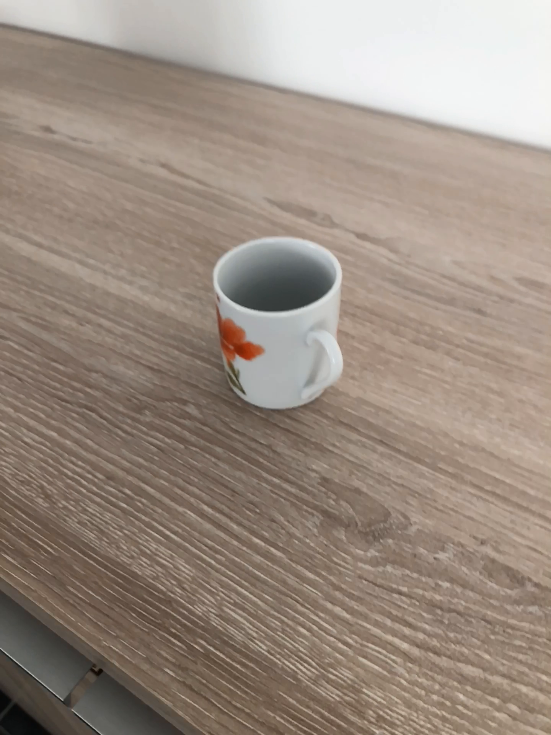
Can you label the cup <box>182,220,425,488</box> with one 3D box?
[{"bbox_3d":[0.008,-0.009,0.258,0.060,0.060,0.080,-23,48,-21],"label":"cup"}]
